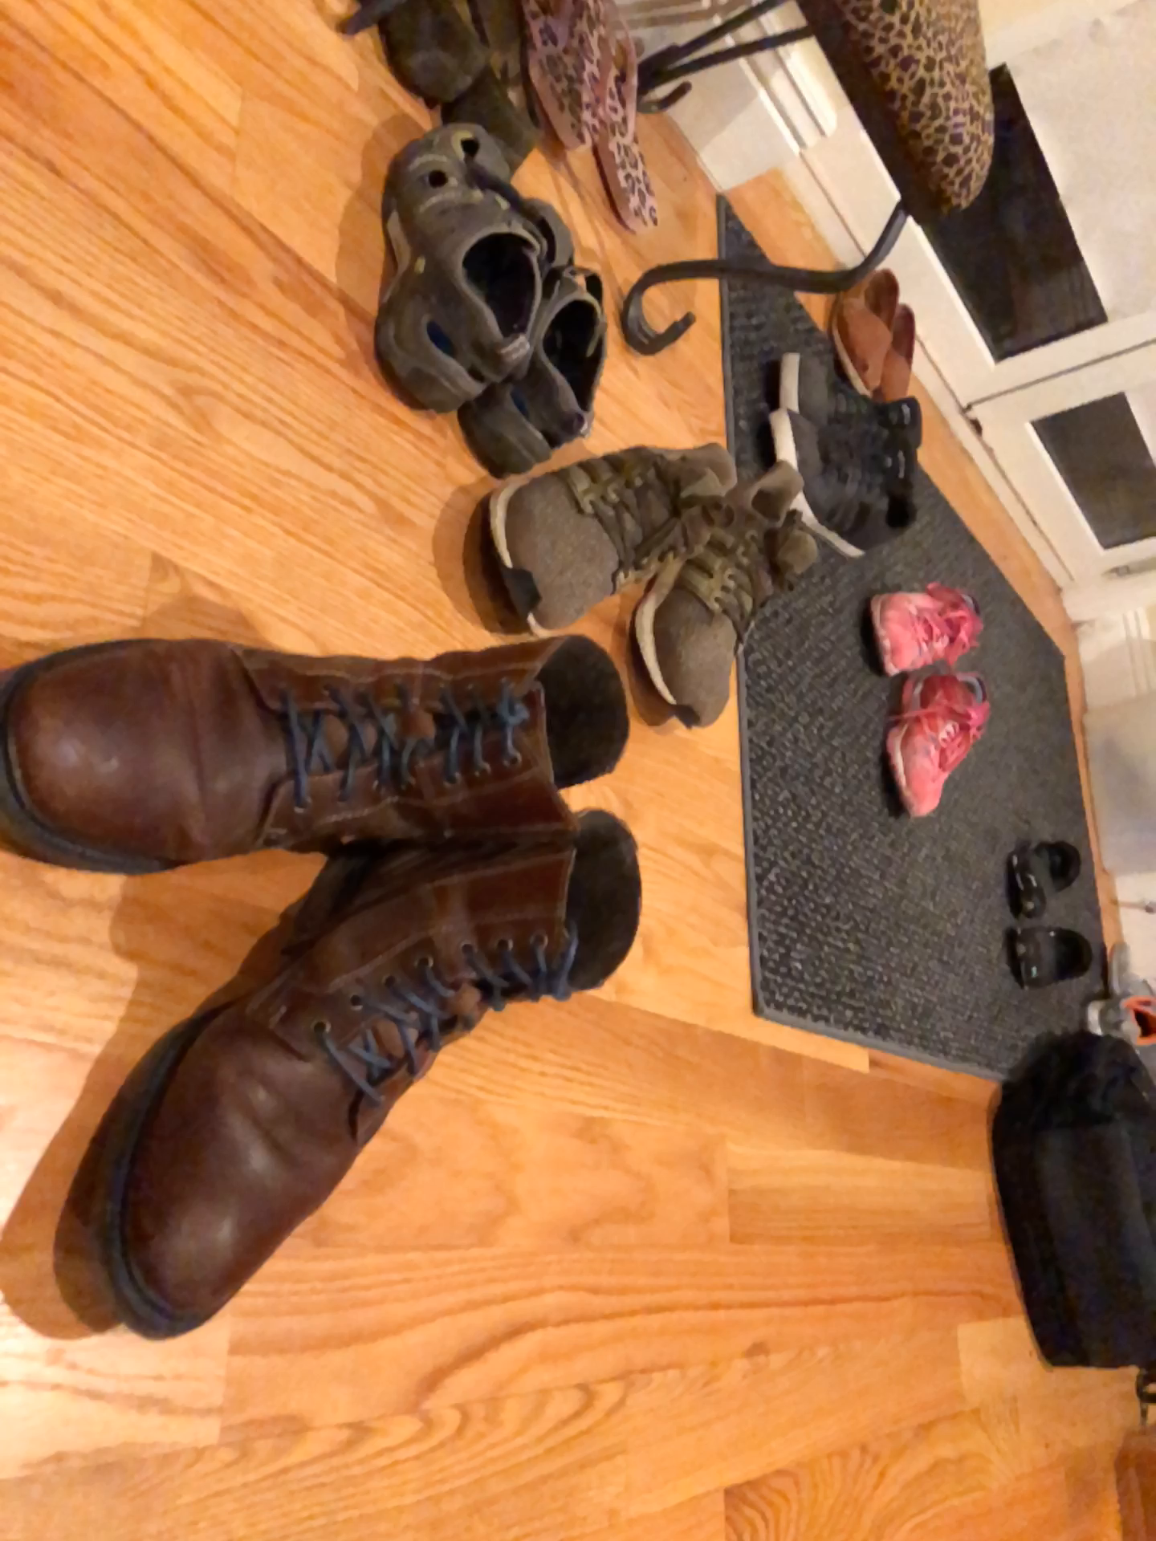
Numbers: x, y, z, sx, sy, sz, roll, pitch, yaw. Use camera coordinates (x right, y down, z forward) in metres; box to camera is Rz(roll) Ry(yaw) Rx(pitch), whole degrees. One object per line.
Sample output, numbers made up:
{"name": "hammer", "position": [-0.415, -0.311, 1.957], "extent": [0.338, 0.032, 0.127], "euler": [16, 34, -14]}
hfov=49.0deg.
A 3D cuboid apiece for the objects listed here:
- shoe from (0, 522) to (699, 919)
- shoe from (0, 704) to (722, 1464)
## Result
{"name": "shoe", "position": [-0.097, -0.016, 0.598], "extent": [0.311, 0.168, 0.113], "euler": [-2, 81, -58]}
{"name": "shoe", "position": [-0.075, 0.126, 0.586], "extent": [0.128, 0.176, 0.305], "euler": [59, 36, -26]}
